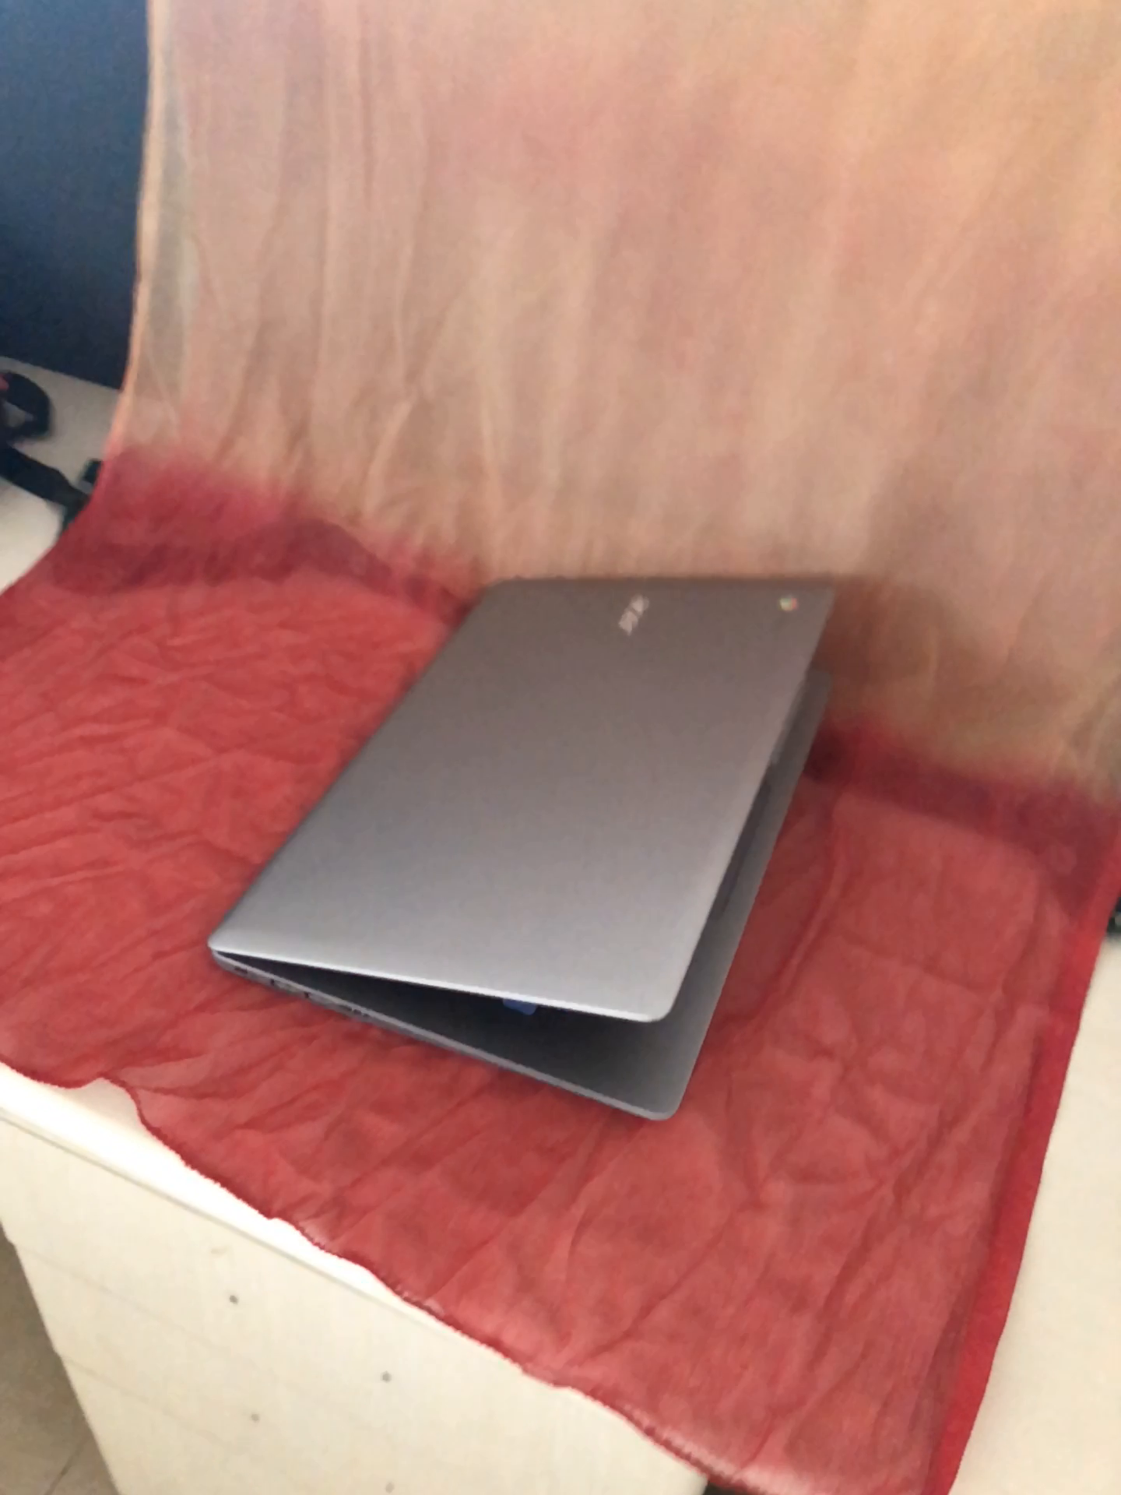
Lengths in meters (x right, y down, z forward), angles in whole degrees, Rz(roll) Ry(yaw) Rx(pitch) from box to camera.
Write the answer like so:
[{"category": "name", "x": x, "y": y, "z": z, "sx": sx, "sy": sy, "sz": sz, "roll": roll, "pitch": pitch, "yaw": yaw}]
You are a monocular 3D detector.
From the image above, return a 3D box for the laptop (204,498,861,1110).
[{"category": "laptop", "x": 0.006, "y": -0.002, "z": 0.633, "sx": 0.219, "sy": 0.065, "sz": 0.323, "roll": 15, "pitch": 43, "yaw": 16}]
